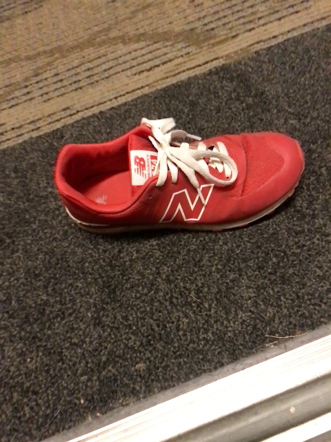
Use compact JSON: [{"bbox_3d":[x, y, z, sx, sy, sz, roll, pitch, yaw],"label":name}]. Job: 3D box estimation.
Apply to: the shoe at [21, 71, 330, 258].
[{"bbox_3d":[0.010,-0.047,0.361,0.256,0.108,0.101,-8,61,6],"label":"shoe"}]
